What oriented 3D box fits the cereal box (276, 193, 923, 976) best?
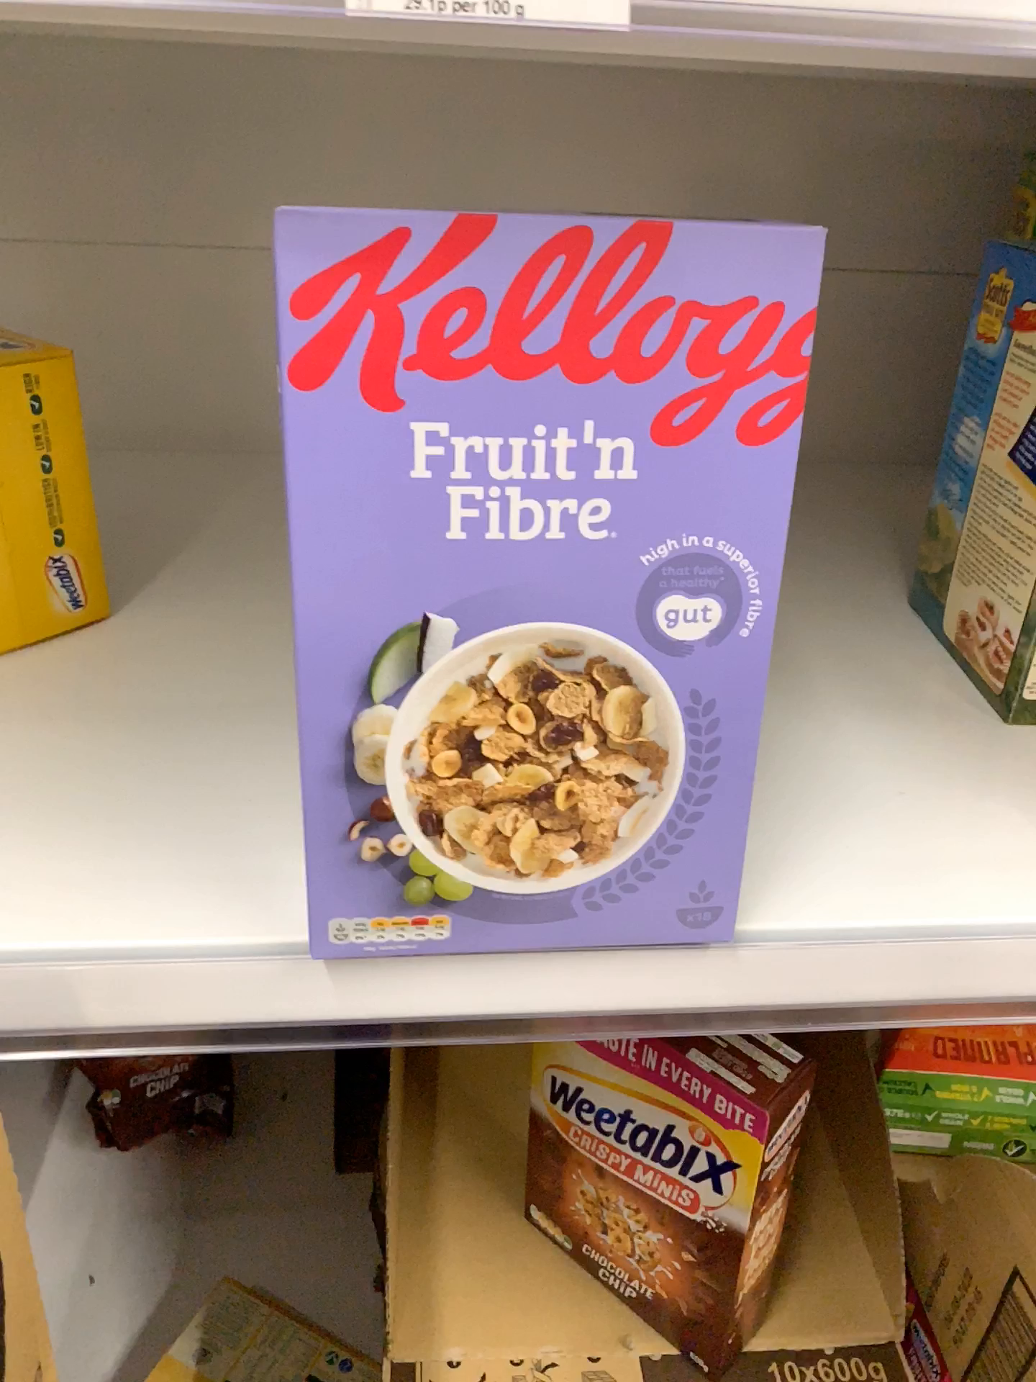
[{"bbox_3d":[0.020,-0.035,0.435,0.210,0.298,0.081,-1,24,-7],"label":"cereal box"}]
